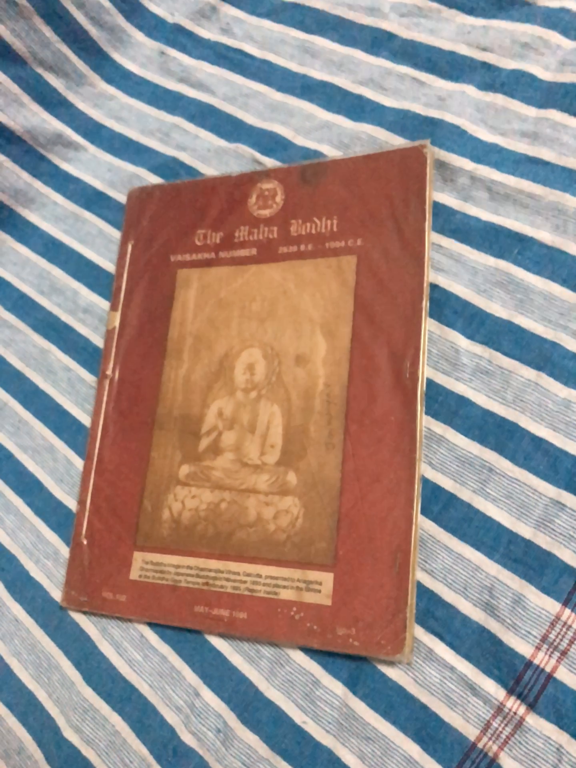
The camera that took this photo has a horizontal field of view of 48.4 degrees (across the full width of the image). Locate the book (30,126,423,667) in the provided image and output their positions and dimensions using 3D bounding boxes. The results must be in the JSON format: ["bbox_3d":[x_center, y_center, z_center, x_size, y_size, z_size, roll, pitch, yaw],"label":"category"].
[{"bbox_3d":[-0.028,-0.005,0.326,0.180,0.020,0.250,-1,74,20],"label":"book"}]
